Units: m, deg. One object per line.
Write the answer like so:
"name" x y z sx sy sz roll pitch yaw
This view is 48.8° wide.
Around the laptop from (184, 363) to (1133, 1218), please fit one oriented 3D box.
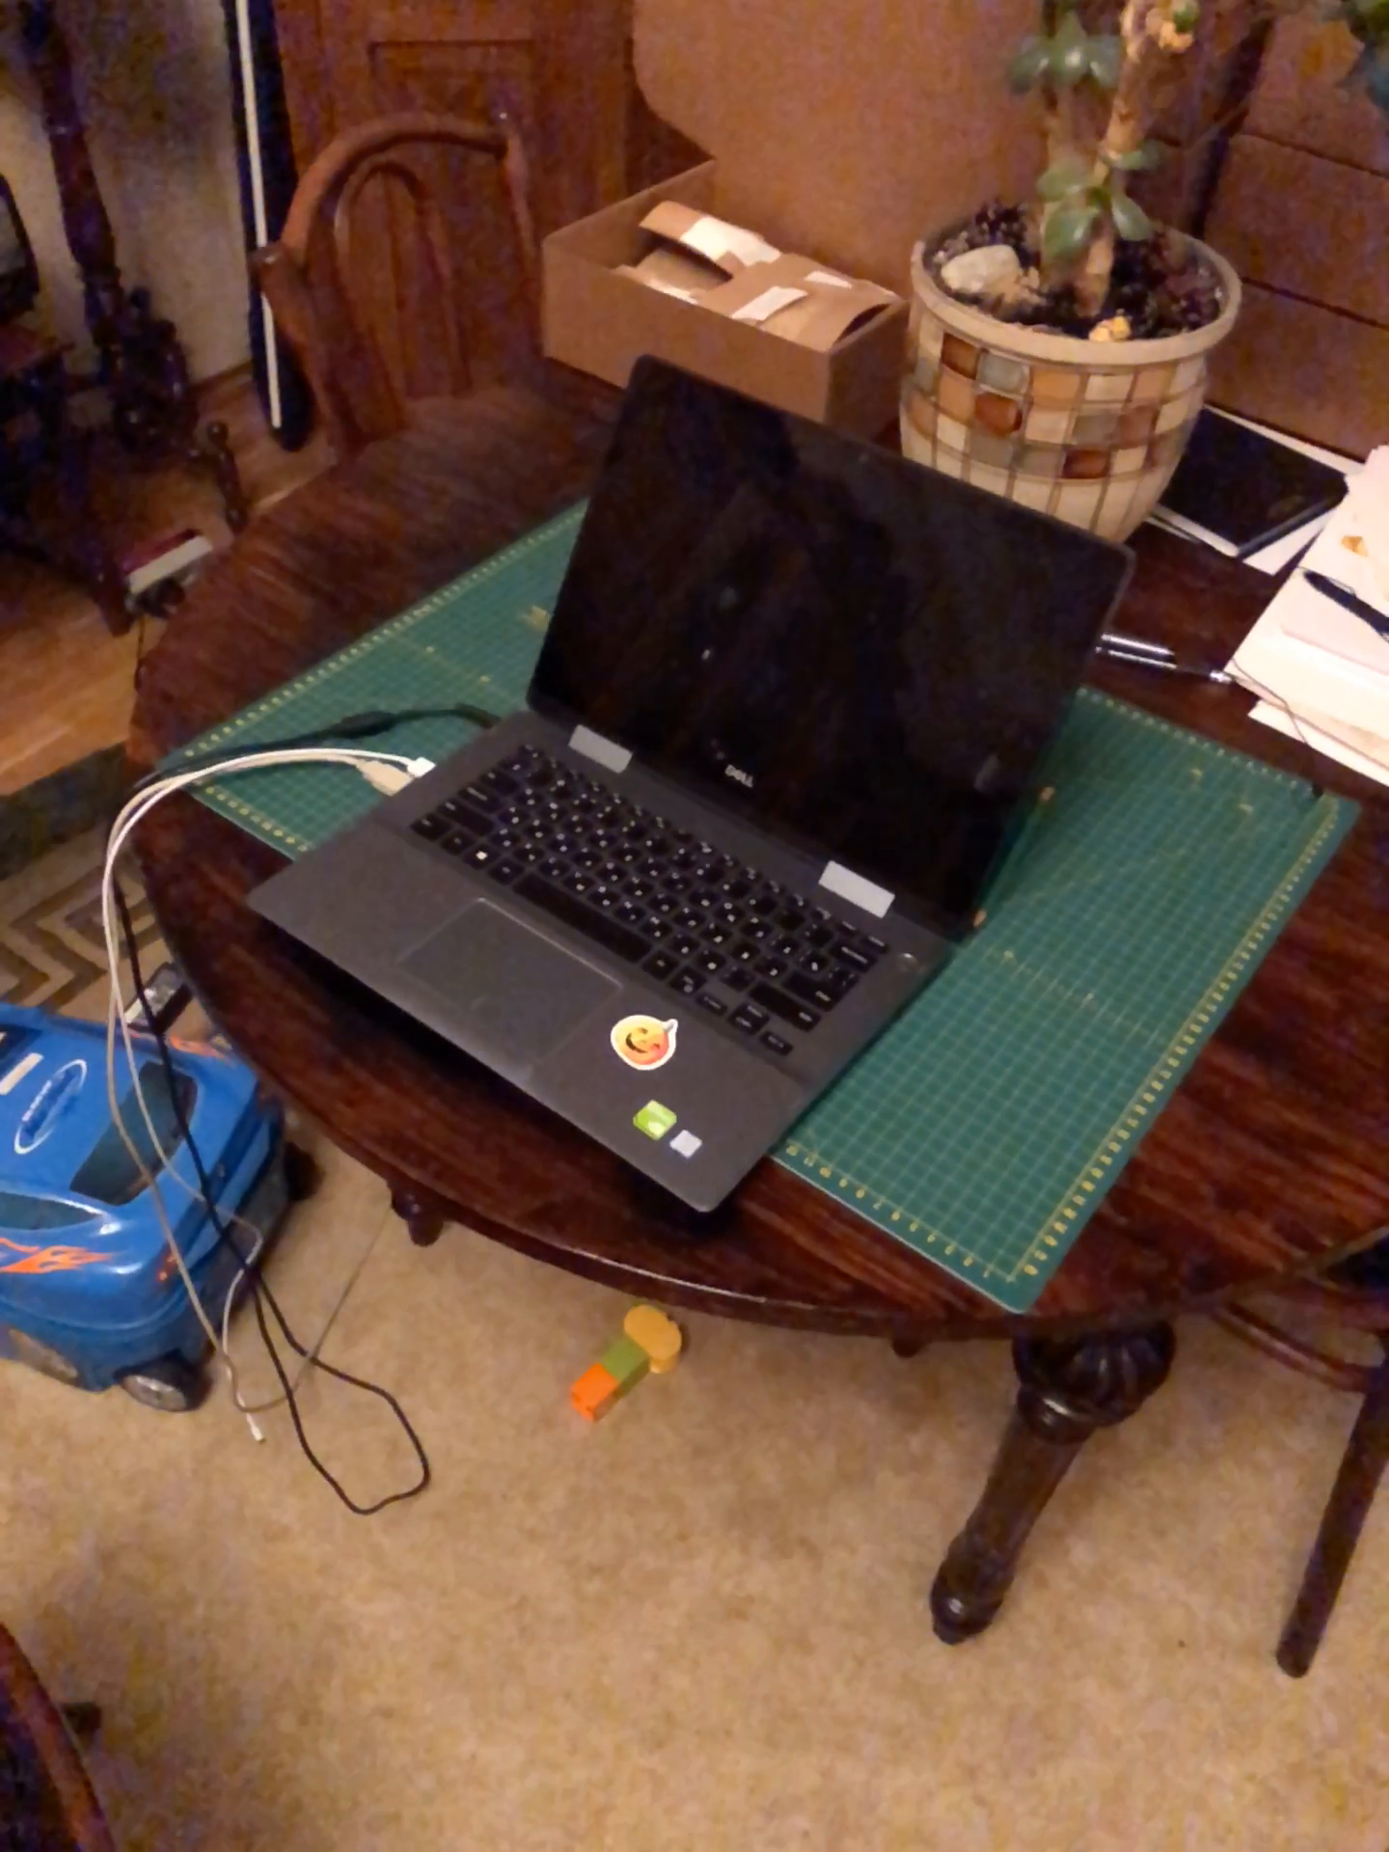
"laptop" -0.011 -0.098 0.810 0.321 0.192 0.338 30 52 24
